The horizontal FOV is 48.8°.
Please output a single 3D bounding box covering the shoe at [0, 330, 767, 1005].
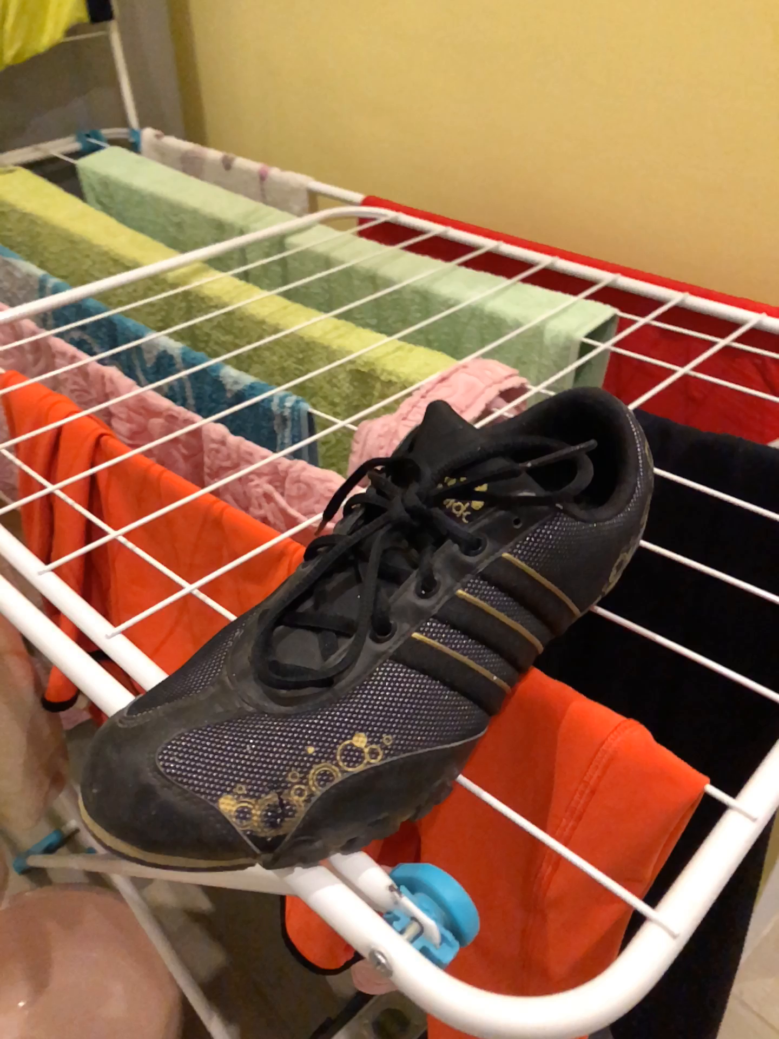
[{"bbox_3d":[0.012,0.028,0.318,0.261,0.099,0.099,-27,43,-30],"label":"shoe"}]
